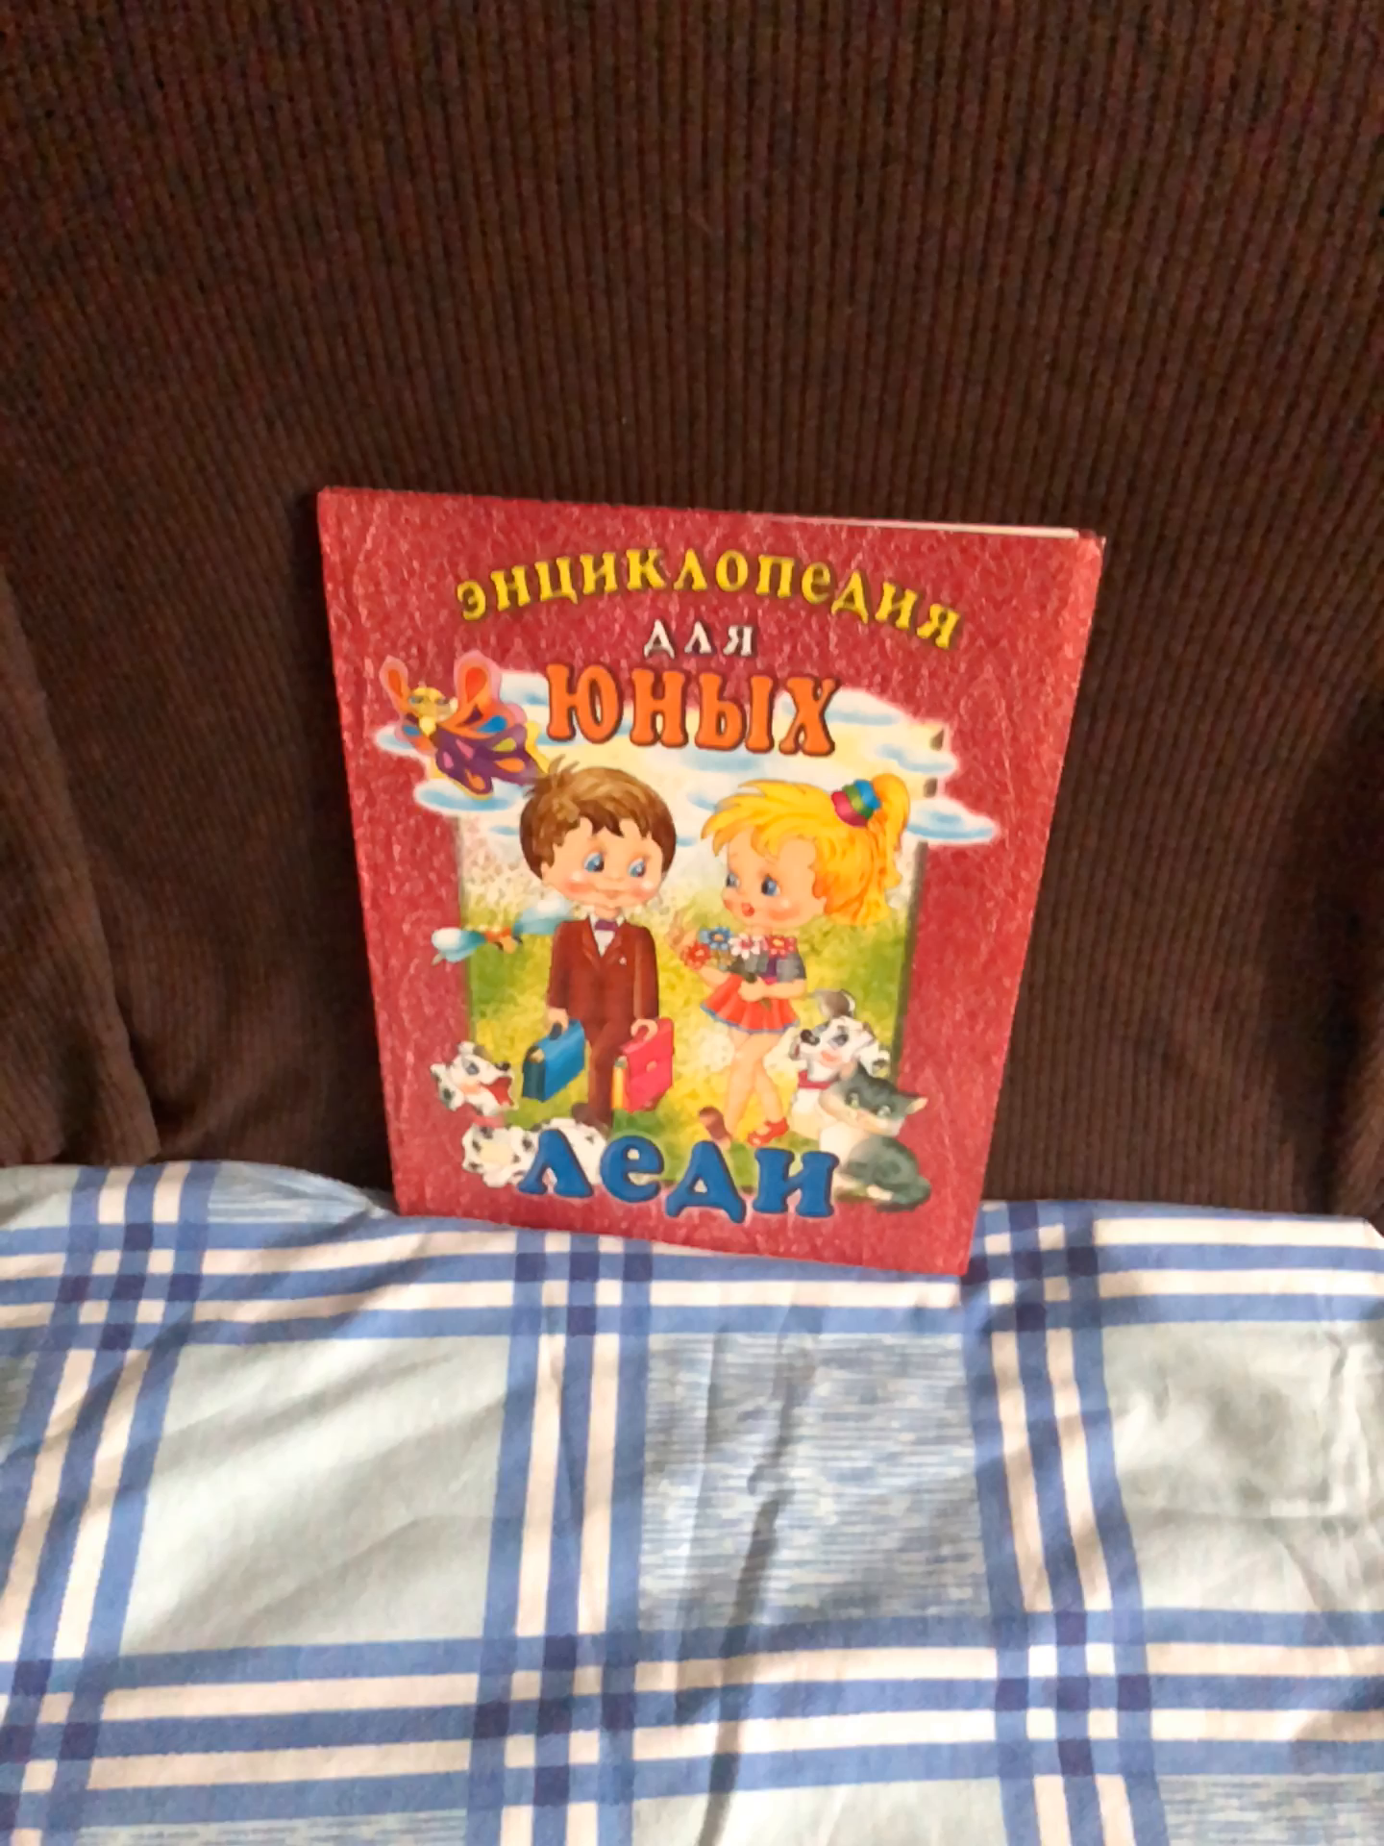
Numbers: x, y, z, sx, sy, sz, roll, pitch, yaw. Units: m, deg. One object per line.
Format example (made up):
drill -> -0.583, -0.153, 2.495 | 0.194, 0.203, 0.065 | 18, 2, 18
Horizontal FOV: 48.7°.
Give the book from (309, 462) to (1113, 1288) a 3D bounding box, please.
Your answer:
book -> -0.001, 0.003, 0.527 | 0.230, 0.303, 0.020 | 4, 33, 2
